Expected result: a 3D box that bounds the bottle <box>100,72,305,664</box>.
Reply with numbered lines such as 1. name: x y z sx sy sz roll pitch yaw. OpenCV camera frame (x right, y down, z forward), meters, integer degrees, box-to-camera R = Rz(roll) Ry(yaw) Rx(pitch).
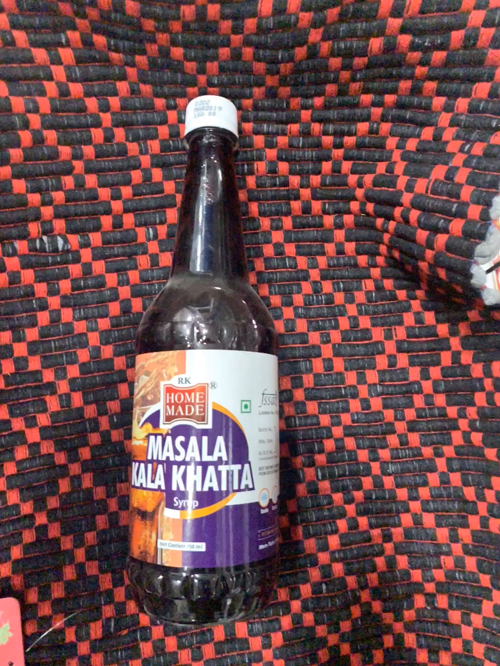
1. bottle: -0.021 0.009 0.265 0.080 0.080 0.260 -1 79 0
